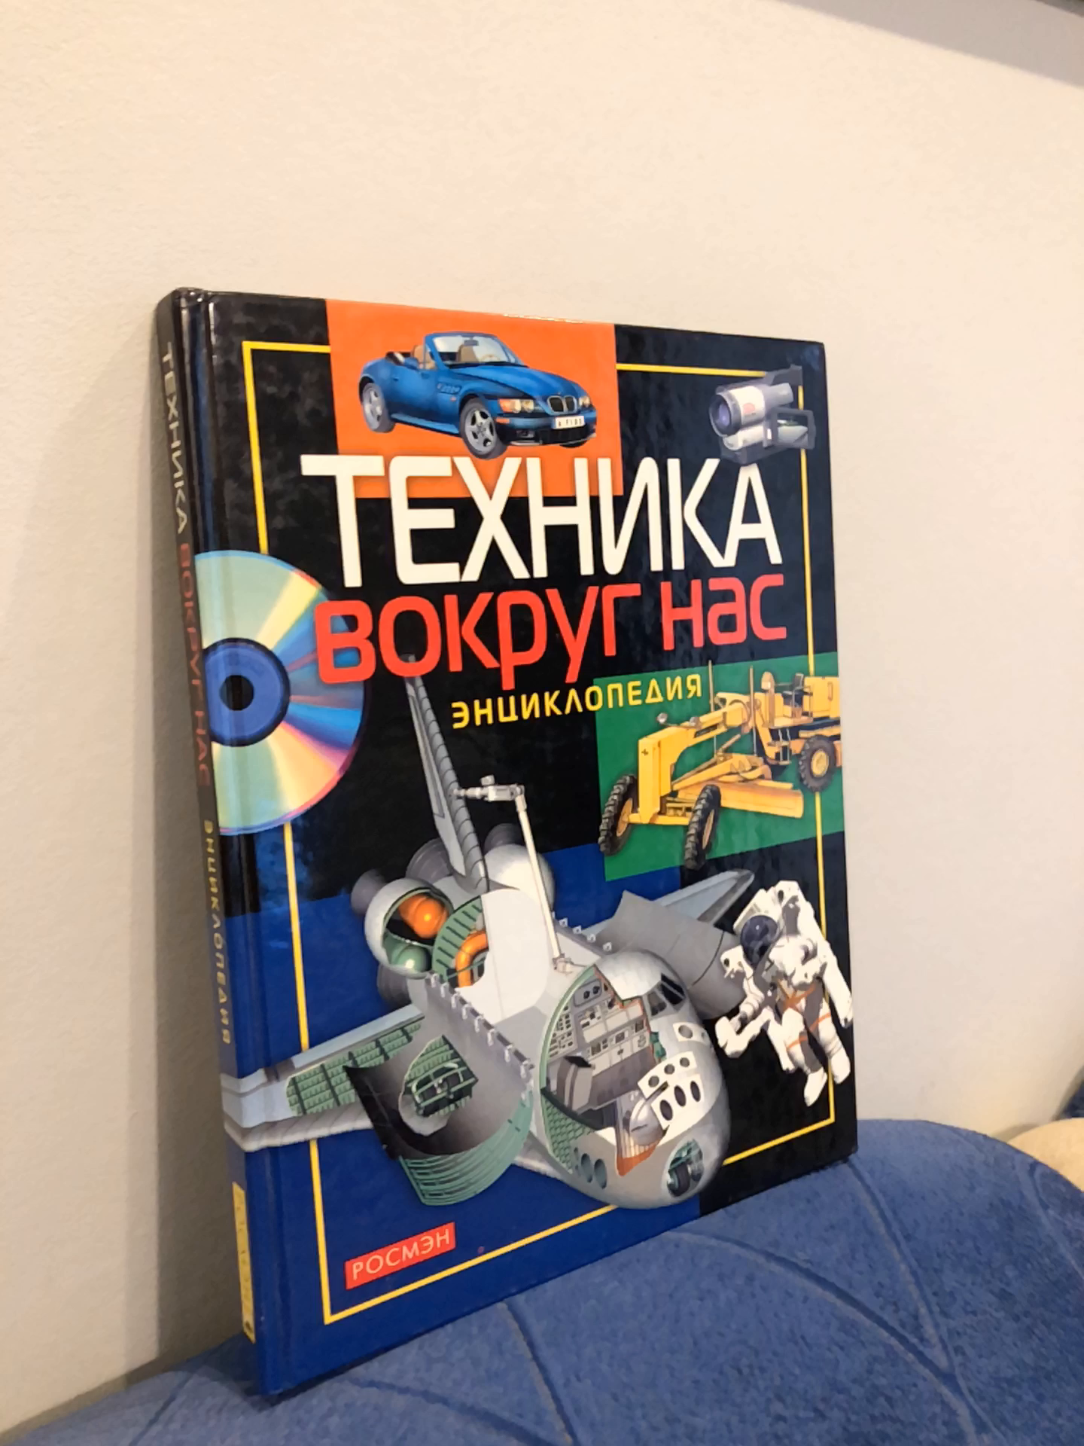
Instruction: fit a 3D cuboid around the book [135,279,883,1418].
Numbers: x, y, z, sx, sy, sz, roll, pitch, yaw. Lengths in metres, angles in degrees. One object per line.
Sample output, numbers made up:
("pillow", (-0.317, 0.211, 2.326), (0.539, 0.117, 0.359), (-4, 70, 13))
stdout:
("book", (0.008, 0.023, 0.359), (0.220, 0.280, 0.030), (-7, 6, -31))
